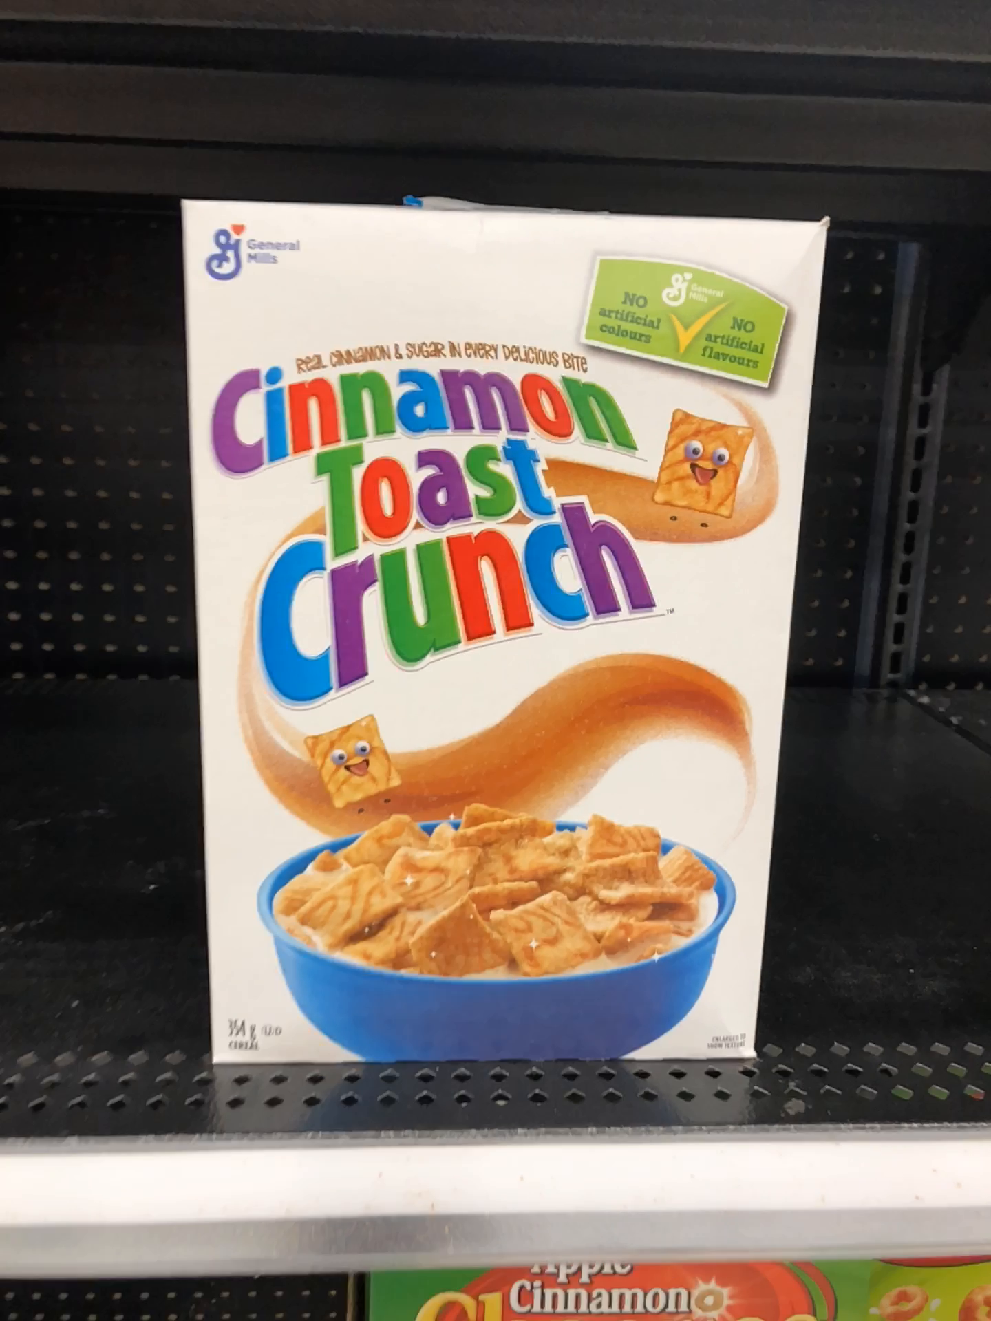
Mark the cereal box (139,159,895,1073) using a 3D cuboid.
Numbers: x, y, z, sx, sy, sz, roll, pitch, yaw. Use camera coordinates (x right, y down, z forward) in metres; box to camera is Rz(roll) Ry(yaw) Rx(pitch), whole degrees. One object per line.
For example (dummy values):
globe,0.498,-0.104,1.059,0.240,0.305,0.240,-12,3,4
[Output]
cereal box,0.003,-0.005,0.359,0.210,0.279,0.050,1,13,-3
